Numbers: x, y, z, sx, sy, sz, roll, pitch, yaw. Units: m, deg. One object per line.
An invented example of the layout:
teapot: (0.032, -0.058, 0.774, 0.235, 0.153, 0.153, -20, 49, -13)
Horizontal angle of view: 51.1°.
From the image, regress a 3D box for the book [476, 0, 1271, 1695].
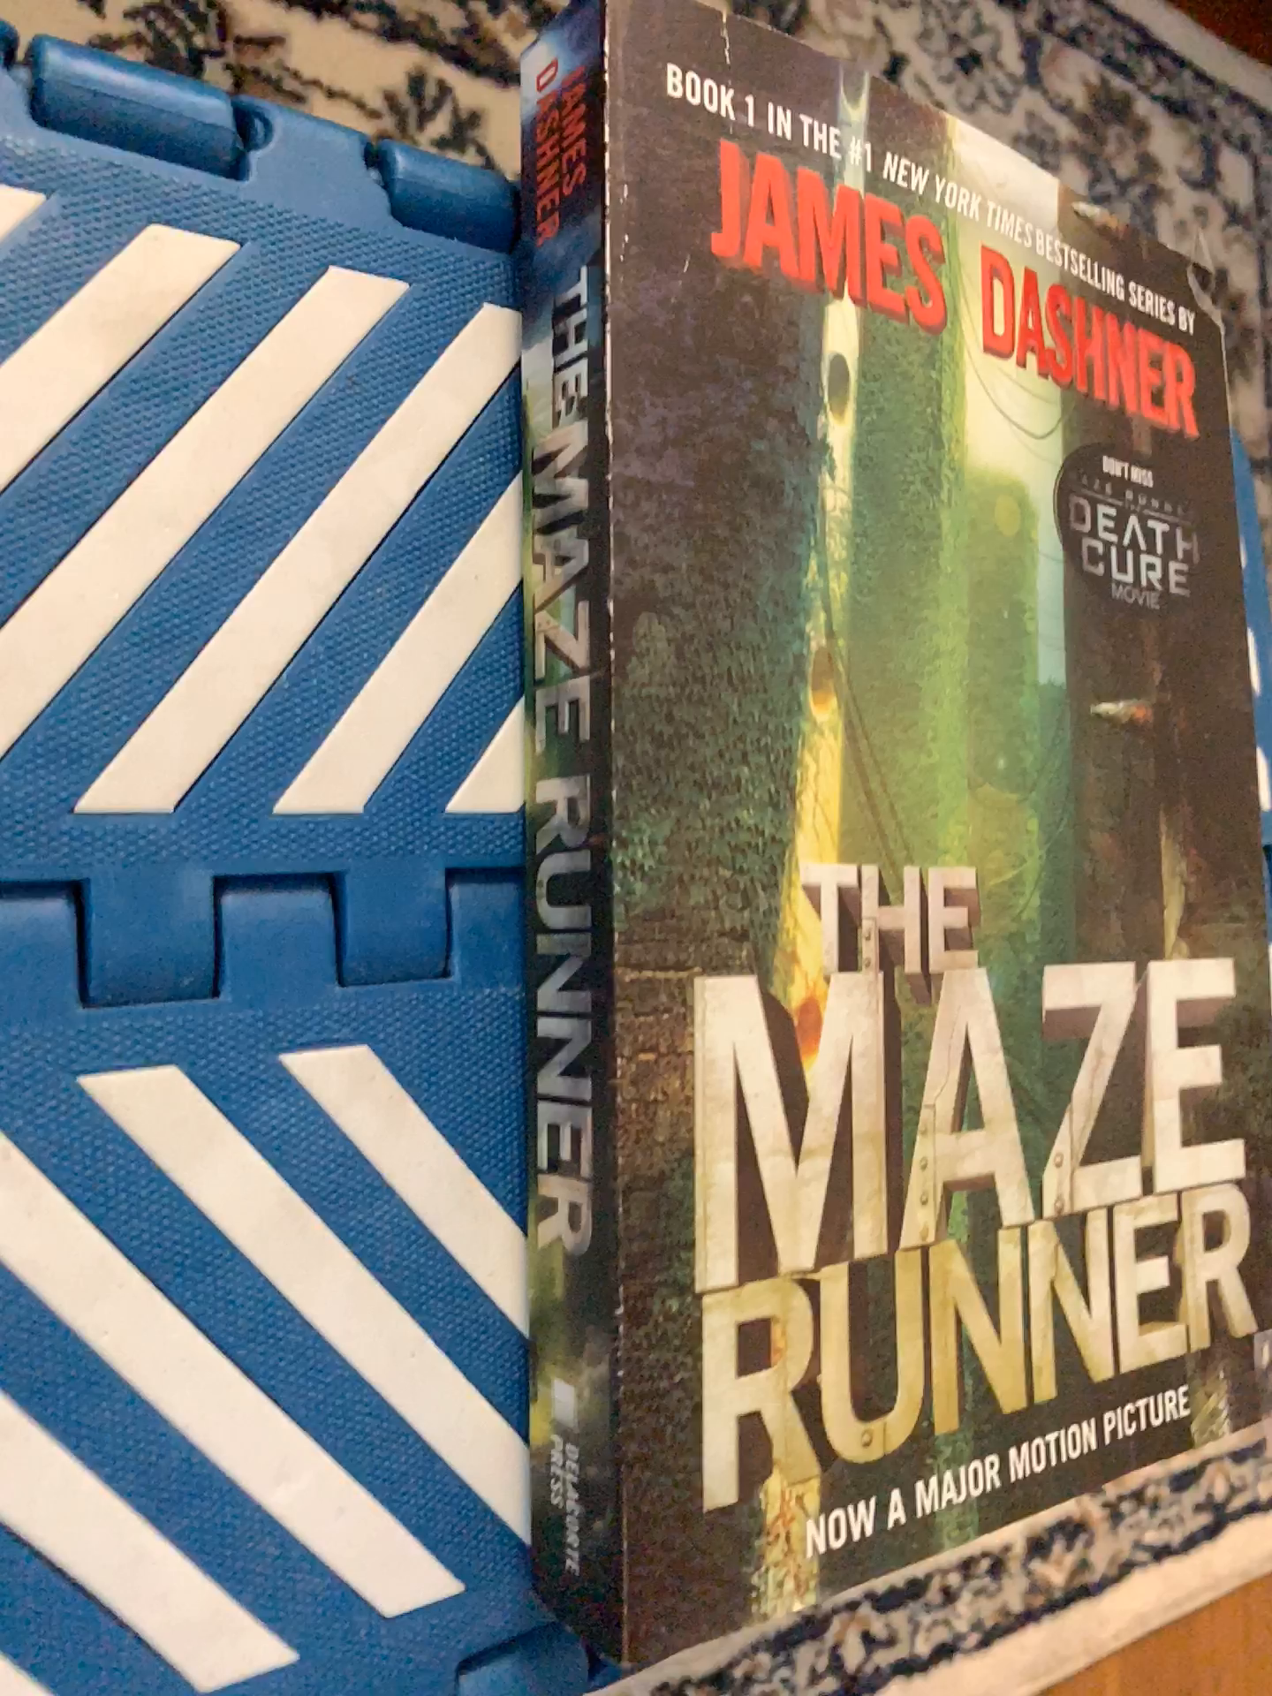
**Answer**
book: (0.051, -0.011, 0.197, 0.151, 0.030, 0.230, 3, 84, -35)
